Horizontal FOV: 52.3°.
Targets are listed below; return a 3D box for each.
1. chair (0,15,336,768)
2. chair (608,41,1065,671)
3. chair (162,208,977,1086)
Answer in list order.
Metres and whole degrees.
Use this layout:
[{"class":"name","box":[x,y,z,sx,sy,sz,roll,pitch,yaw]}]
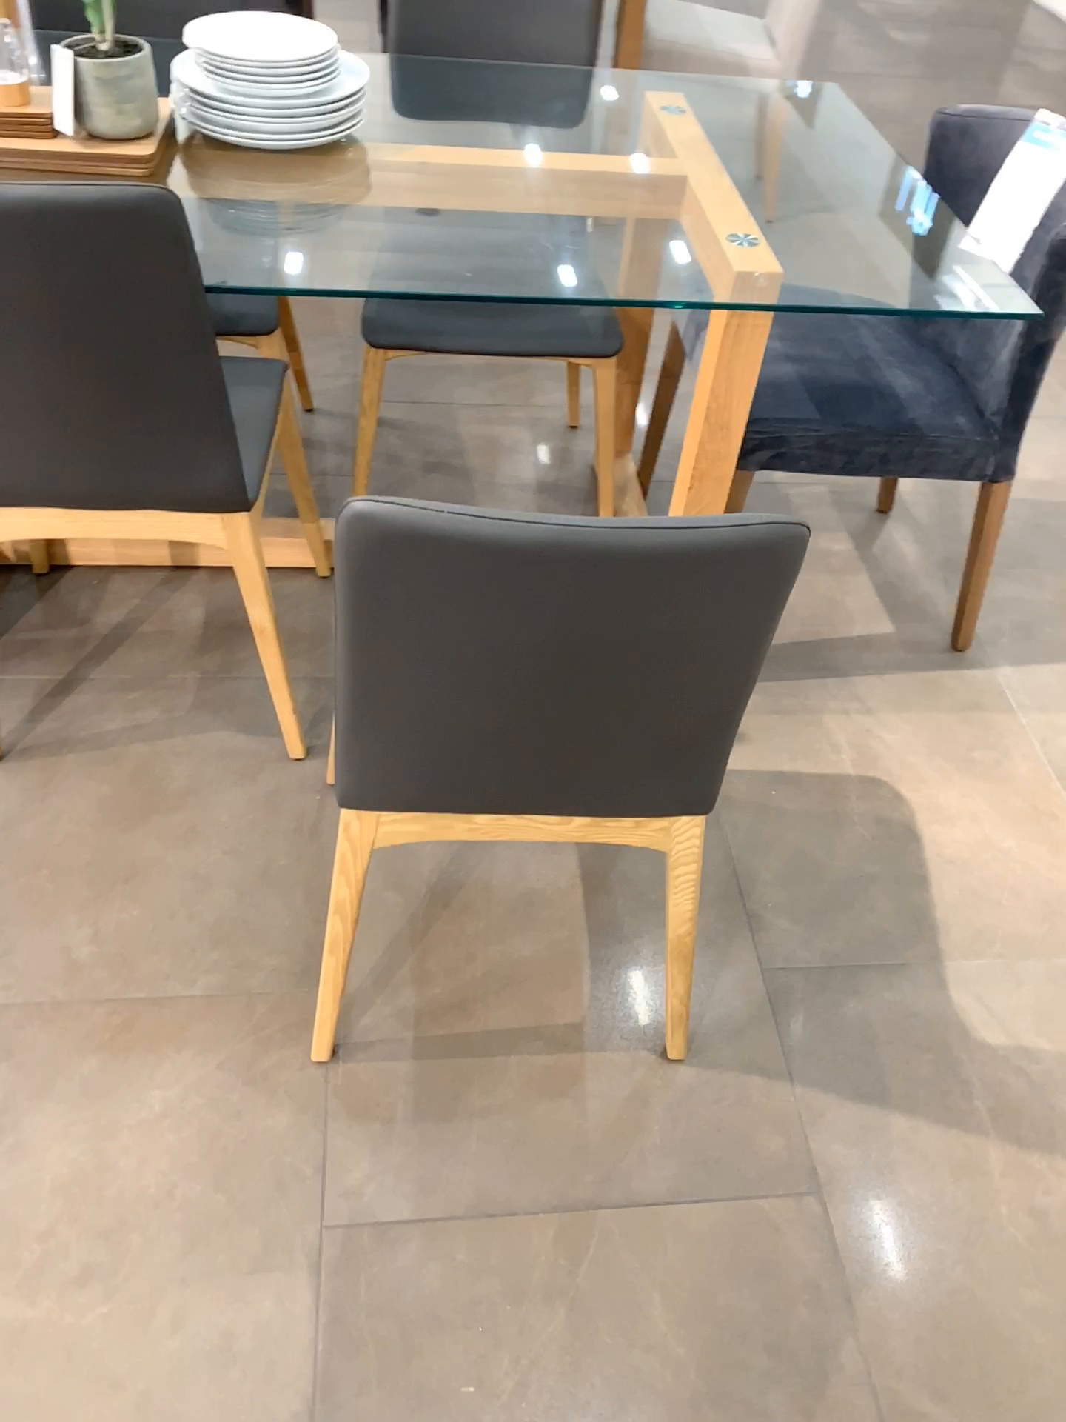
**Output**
[{"class":"chair","box":[-0.563,-0.391,1.492,0.522,0.833,0.501,-1,46,-7]},{"class":"chair","box":[0.523,-0.569,1.818,0.586,0.813,0.547,-4,46,-10]},{"class":"chair","box":[-0.011,-0.024,1.221,0.562,0.813,0.541,1,45,-5]}]
